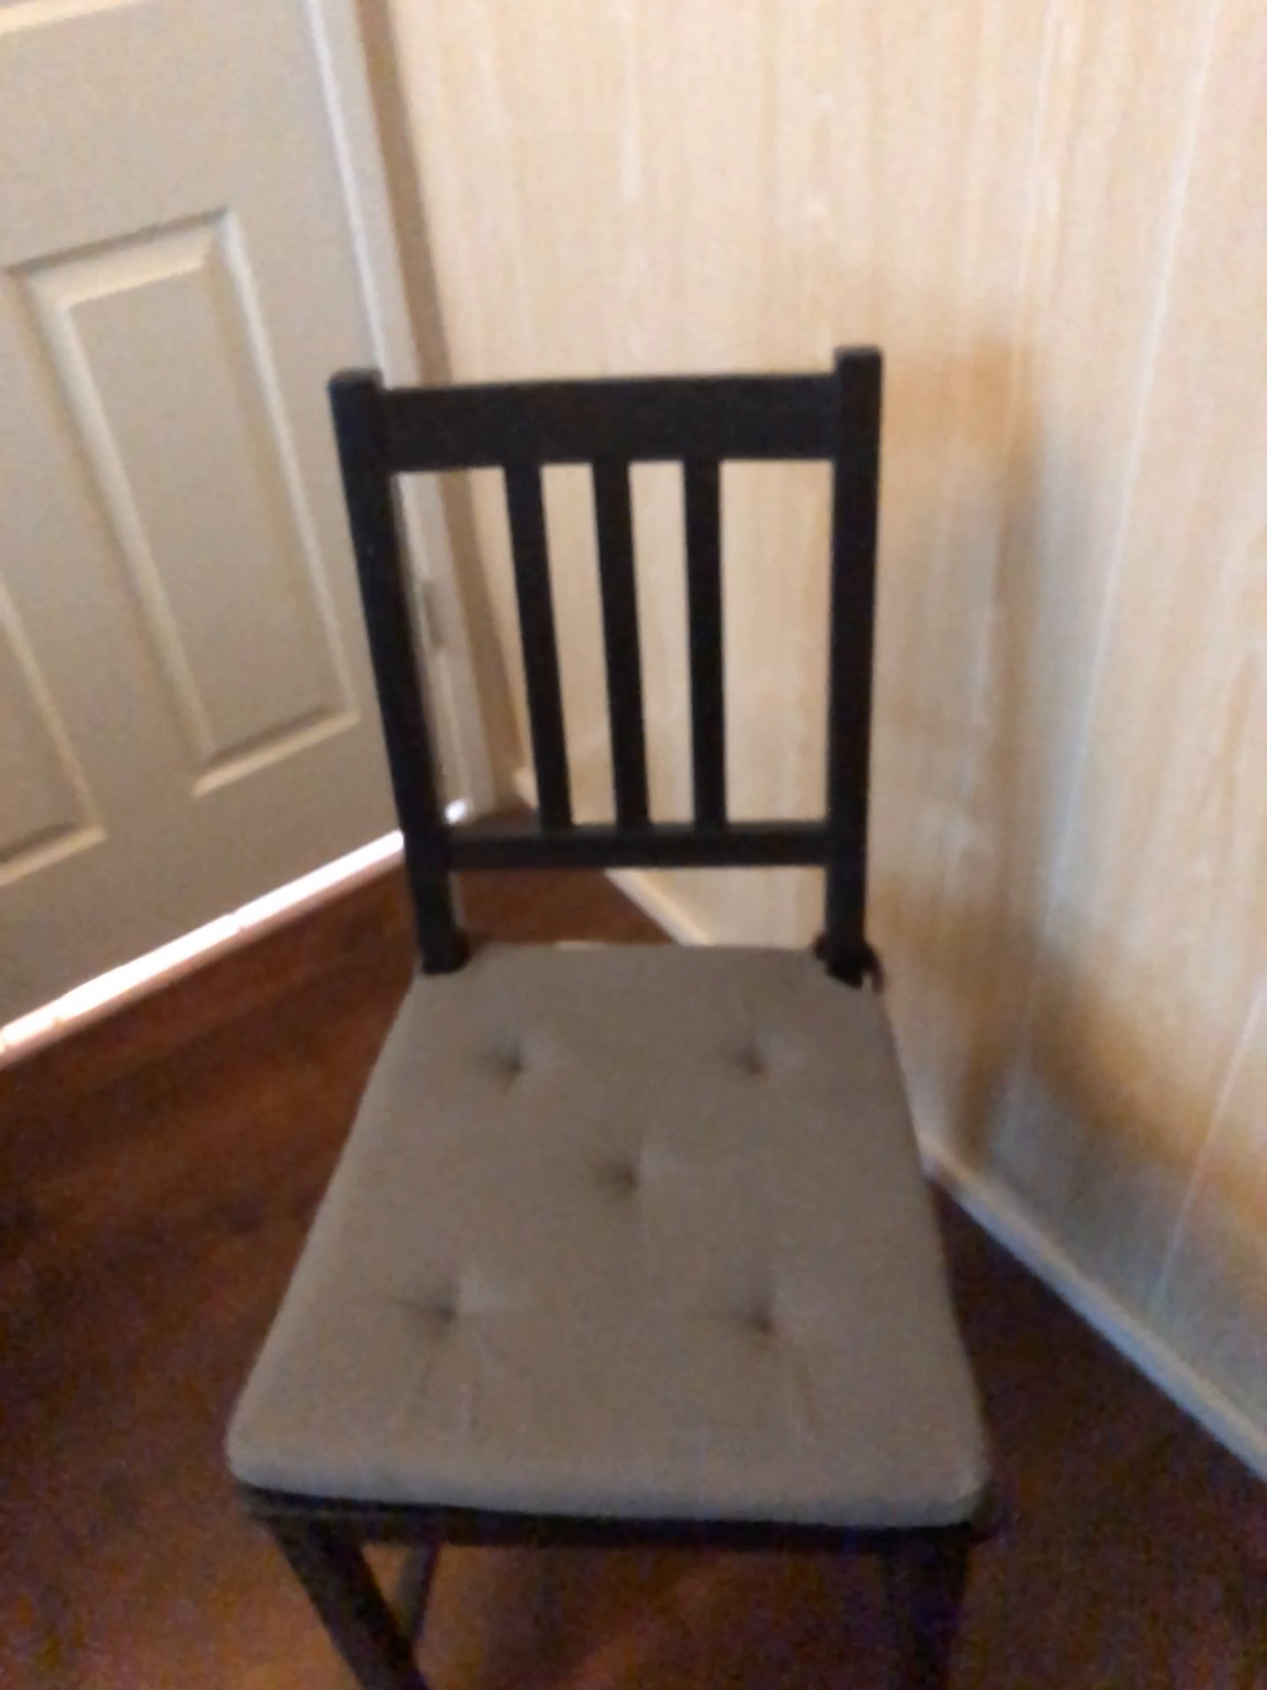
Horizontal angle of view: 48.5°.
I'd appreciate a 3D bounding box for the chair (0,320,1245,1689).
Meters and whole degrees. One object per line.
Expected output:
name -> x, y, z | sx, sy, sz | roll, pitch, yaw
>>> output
chair -> 0.001, 0.191, 0.896 | 0.440, 0.834, 0.513 | -1, 42, 5
